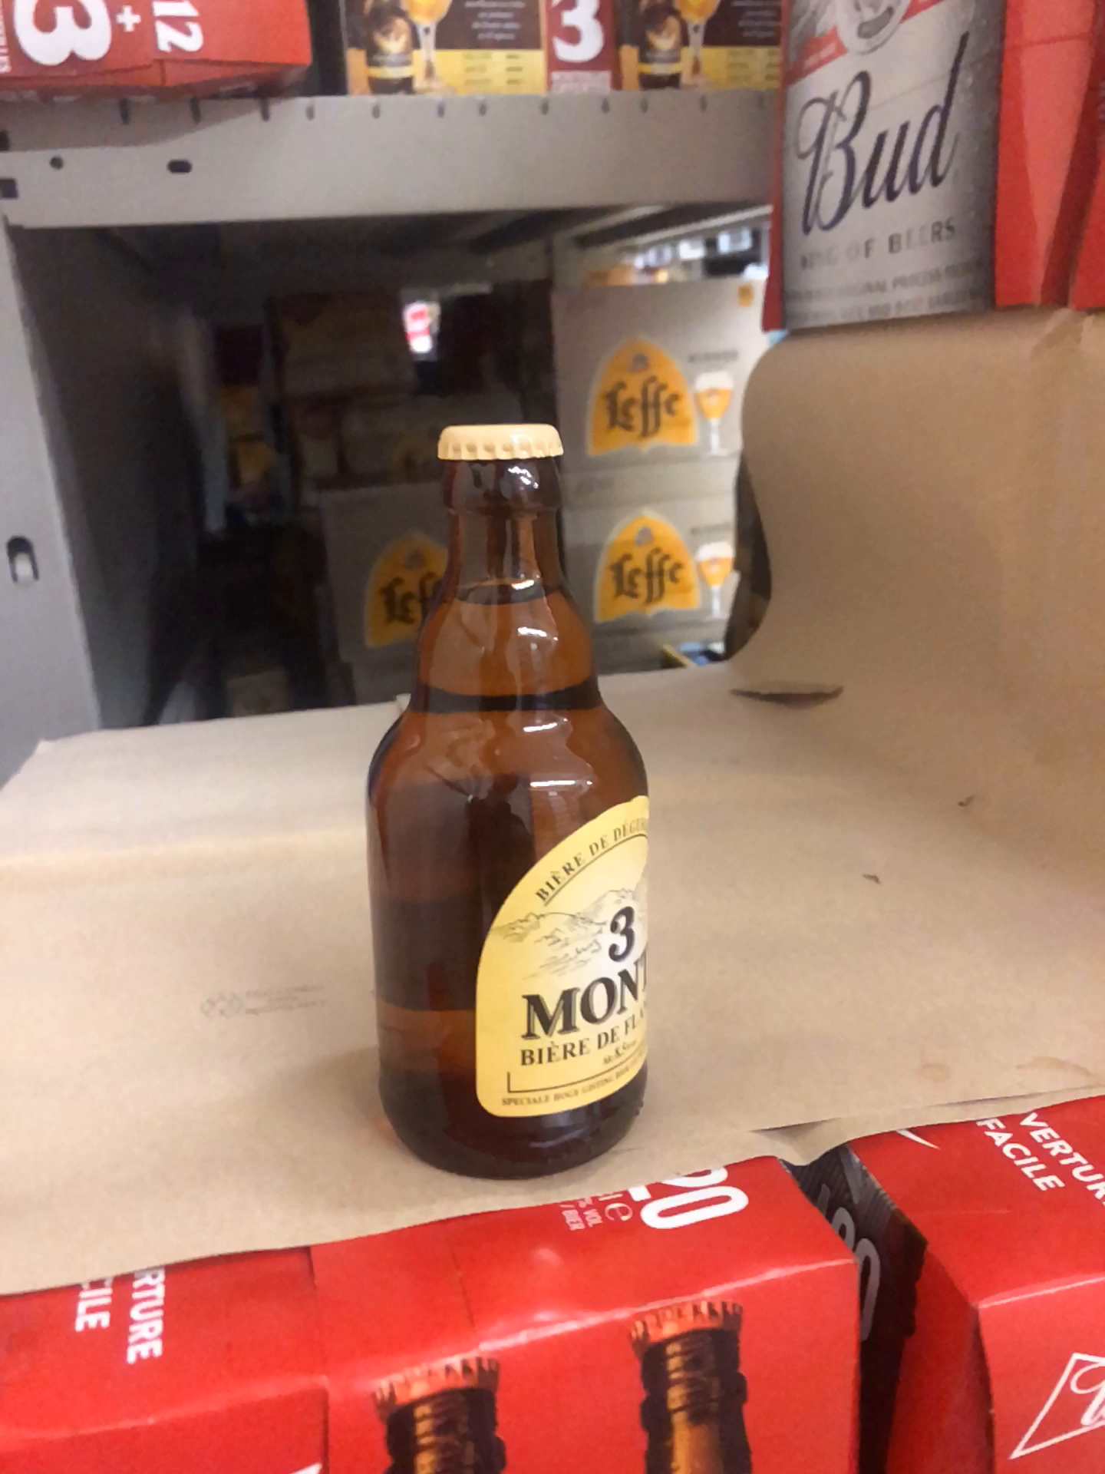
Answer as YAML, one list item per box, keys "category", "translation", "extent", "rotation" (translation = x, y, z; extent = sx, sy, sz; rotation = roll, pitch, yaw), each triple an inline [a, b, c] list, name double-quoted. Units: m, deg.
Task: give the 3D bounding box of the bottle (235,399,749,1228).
- category: "bottle"
  translation: [-0.008, 0.008, 0.290]
  extent: [0.080, 0.166, 0.080]
  rotation: [-2, 16, 1]
